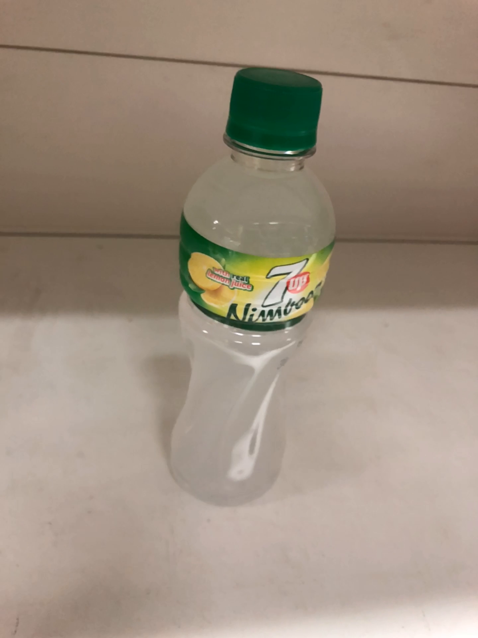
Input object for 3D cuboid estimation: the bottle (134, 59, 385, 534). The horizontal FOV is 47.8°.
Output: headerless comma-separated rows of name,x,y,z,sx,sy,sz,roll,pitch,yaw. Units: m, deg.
bottle,-0.005,-0.001,0.242,0.070,0.199,0.060,-7,35,-21
